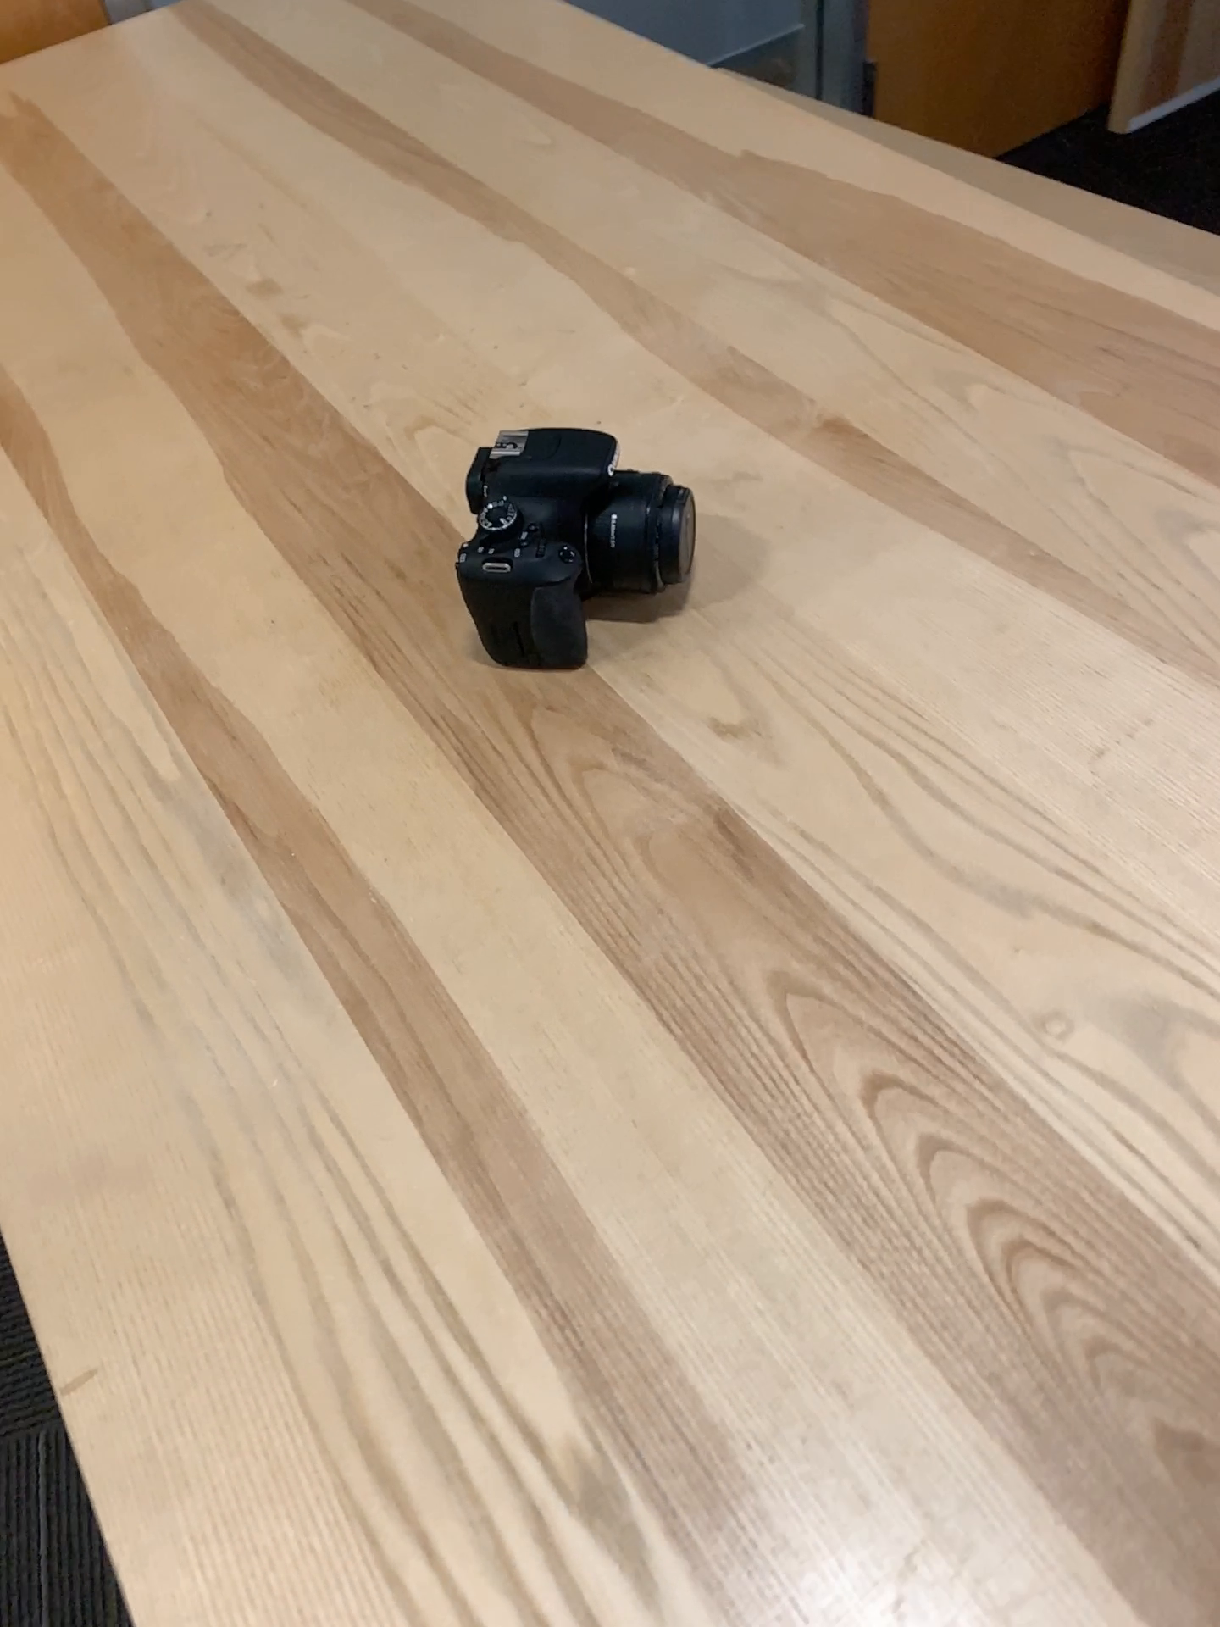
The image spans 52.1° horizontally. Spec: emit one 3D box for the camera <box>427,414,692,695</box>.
[{"bbox_3d":[-0.022,-0.146,0.695,0.112,0.094,0.120,5,52,12],"label":"camera"}]
